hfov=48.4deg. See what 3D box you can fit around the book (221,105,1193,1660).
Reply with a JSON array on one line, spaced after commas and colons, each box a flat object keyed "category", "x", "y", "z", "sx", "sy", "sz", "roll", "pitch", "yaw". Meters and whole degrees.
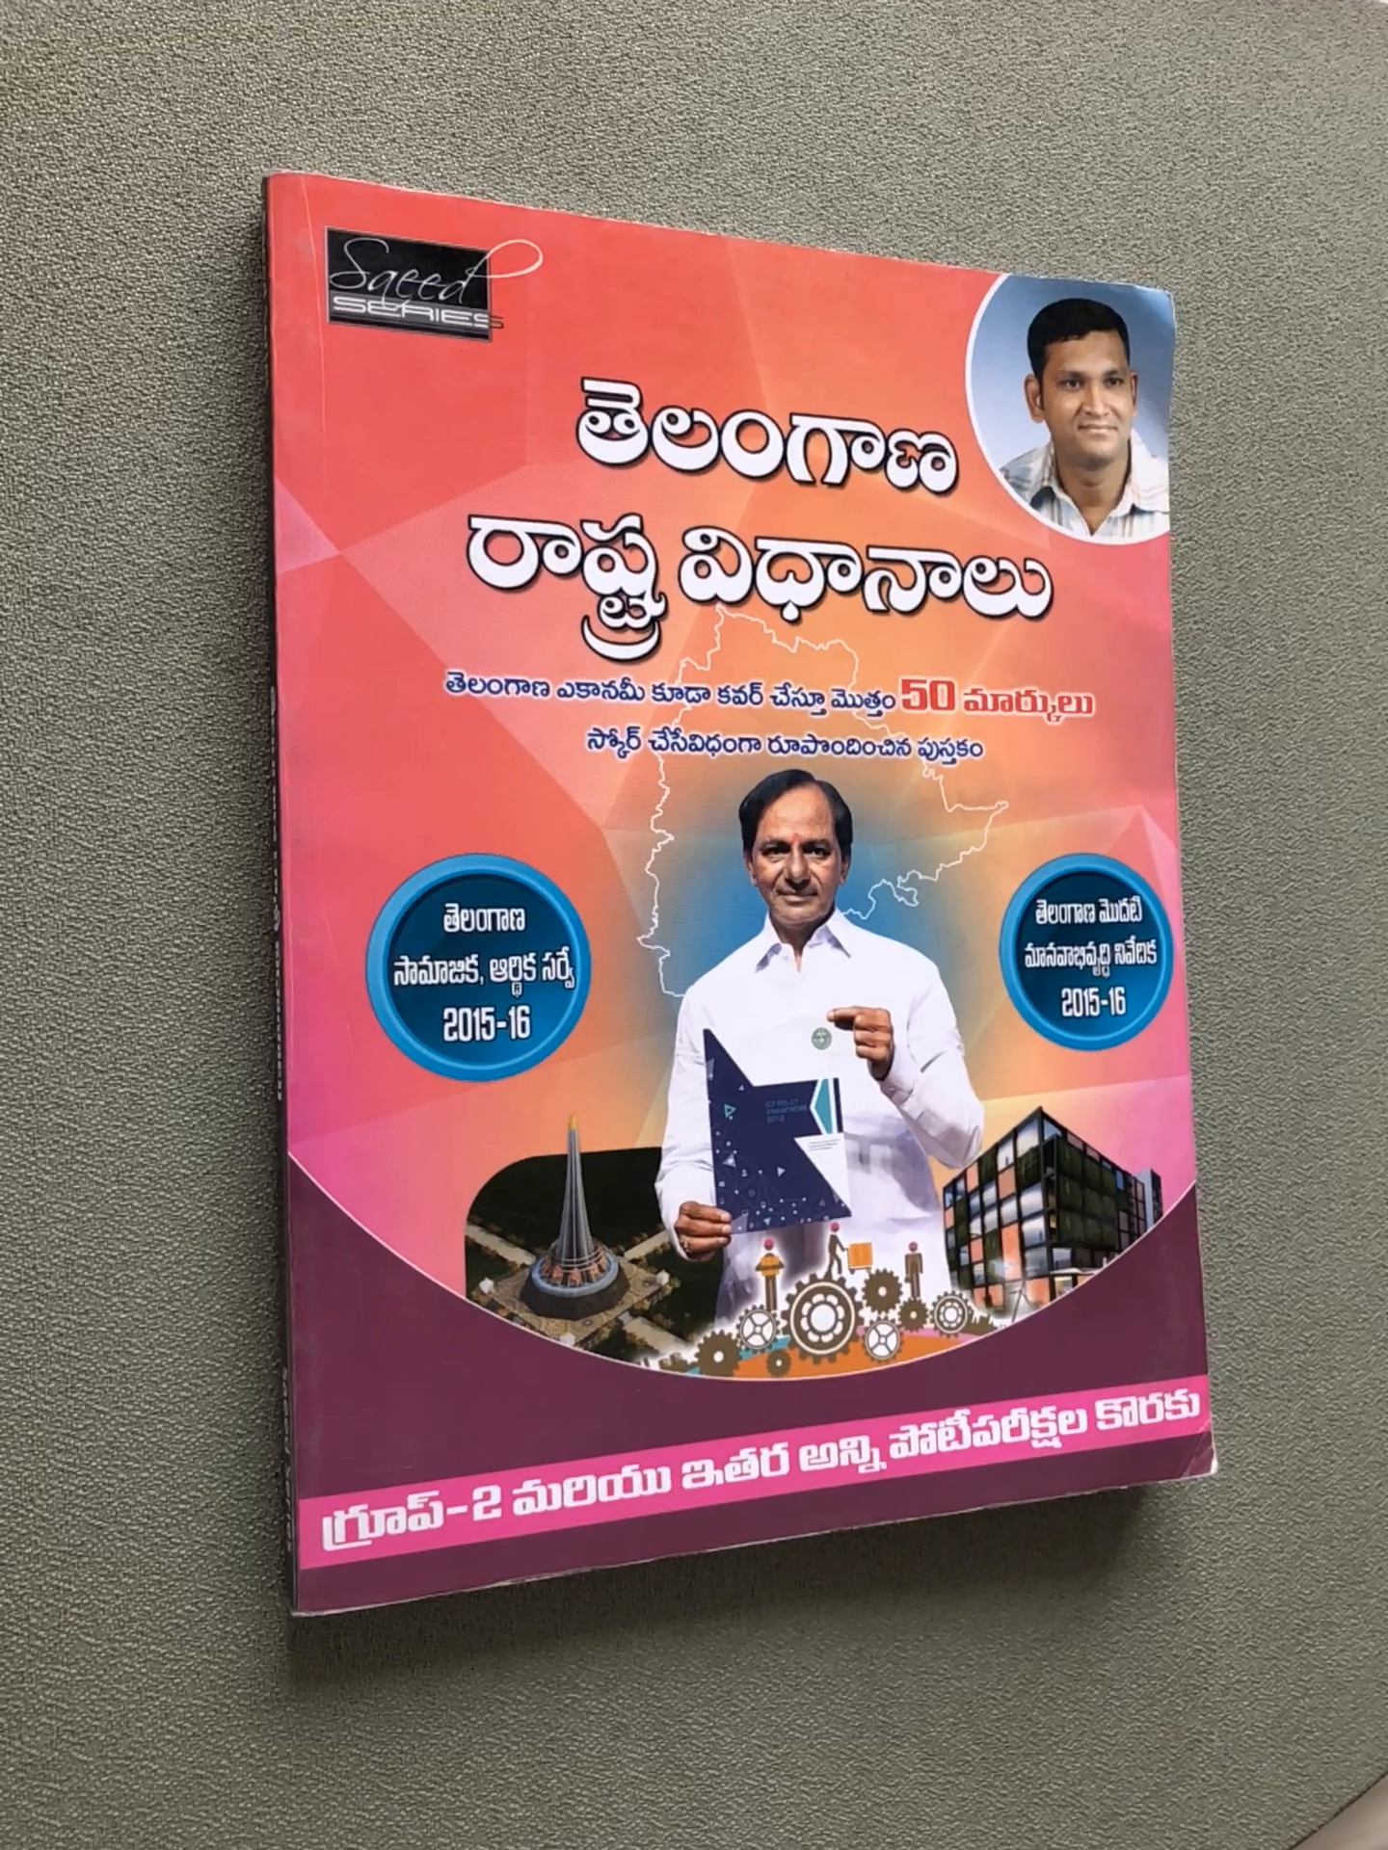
[{"category": "book", "x": 0.006, "y": -0.010, "z": 0.294, "sx": 0.180, "sy": 0.030, "sz": 0.250, "roll": -1, "pitch": 88, "yaw": -21}]
